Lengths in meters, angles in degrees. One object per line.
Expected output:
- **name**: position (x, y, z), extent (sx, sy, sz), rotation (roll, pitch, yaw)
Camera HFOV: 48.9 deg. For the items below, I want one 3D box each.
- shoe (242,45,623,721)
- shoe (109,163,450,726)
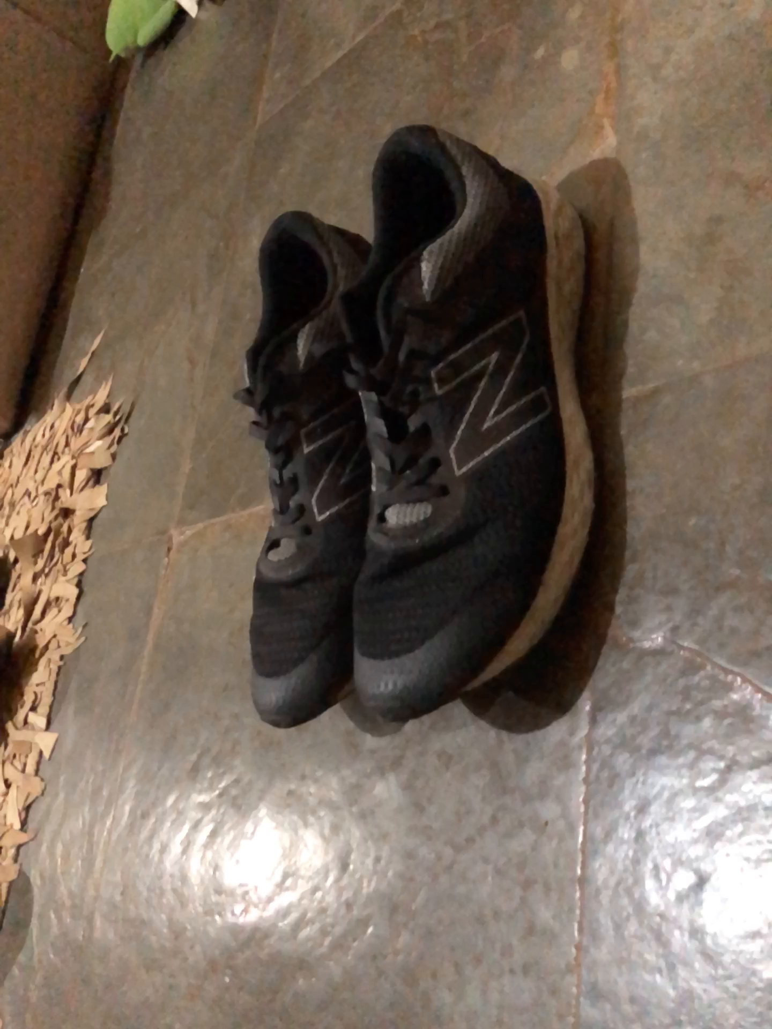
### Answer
- **shoe**: position (0.026, -0.051, 0.379), extent (0.110, 0.099, 0.261), rotation (-18, 59, 45)
- **shoe**: position (-0.050, -0.029, 0.455), extent (0.120, 0.099, 0.261), rotation (-18, 59, 45)
